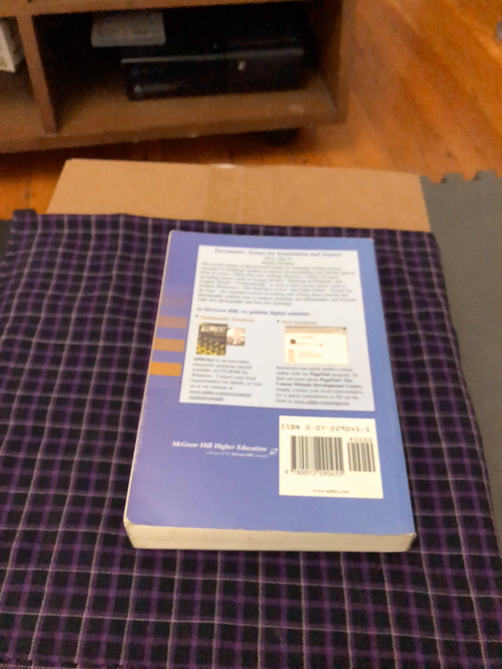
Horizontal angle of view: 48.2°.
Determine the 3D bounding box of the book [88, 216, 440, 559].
[{"bbox_3d":[0.007,0.019,0.375,0.180,0.040,0.241,1,53,-1],"label":"book"}]
